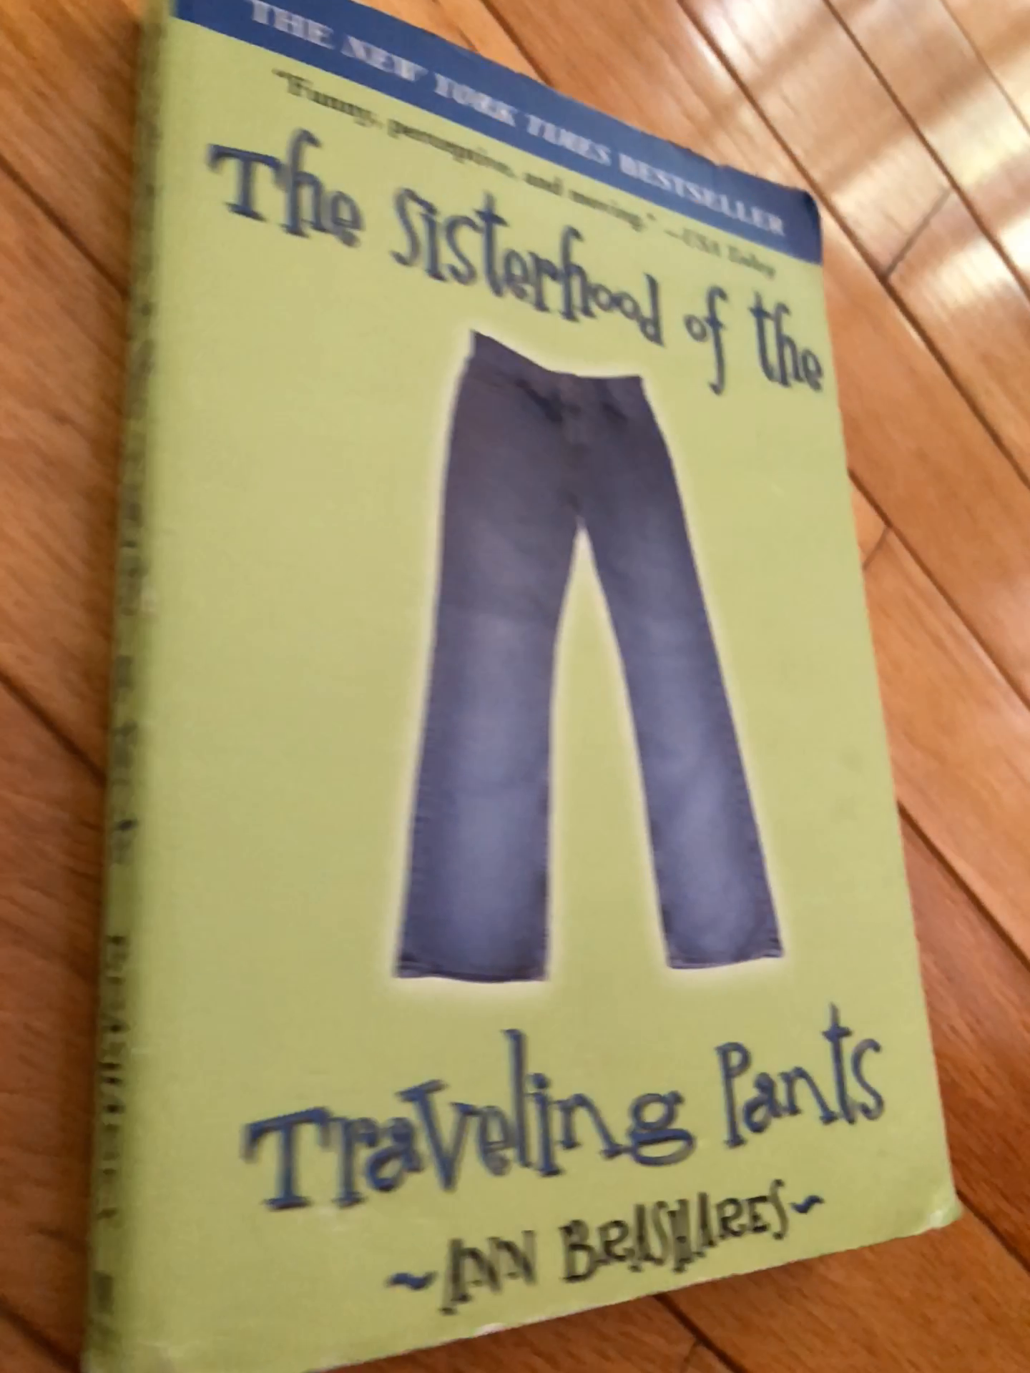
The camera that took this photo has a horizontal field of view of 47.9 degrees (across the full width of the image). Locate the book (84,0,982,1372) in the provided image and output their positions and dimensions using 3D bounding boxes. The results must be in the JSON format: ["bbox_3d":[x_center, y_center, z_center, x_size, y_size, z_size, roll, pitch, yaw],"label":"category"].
[{"bbox_3d":[0.007,-0.009,0.197,0.142,0.025,0.209,6,73,-32],"label":"book"}]
